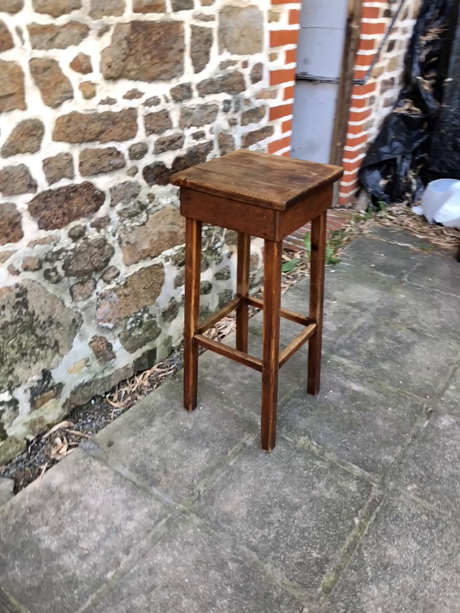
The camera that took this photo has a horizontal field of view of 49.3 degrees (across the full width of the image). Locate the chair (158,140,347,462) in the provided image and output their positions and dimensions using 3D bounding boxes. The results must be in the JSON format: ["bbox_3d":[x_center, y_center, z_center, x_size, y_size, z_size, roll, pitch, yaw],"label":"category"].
[{"bbox_3d":[0.060,-0.014,1.444,0.330,0.795,0.352,20,37,29],"label":"chair"}]
